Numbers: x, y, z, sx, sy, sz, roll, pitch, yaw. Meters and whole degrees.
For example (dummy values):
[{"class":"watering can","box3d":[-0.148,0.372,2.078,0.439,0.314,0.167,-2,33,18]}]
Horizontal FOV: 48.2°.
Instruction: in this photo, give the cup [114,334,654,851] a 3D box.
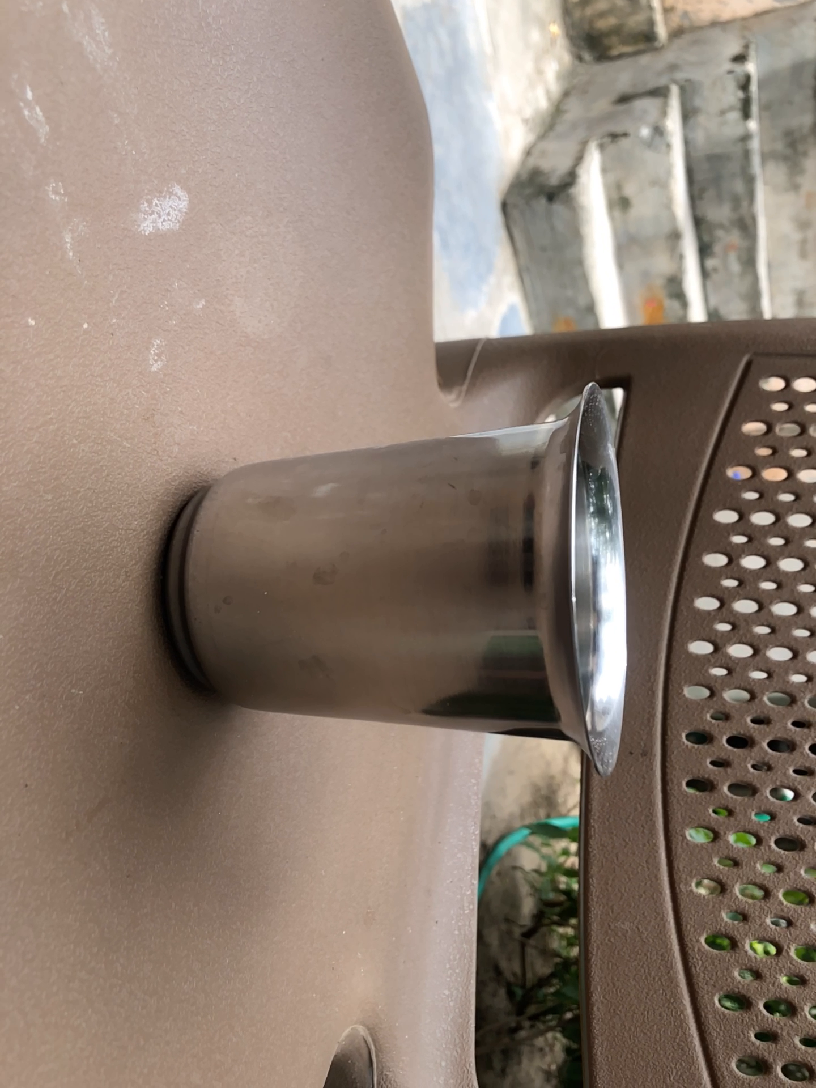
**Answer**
[{"class":"cup","box3d":[0.004,0.007,0.218,0.080,0.089,0.090,-45,127,-61]}]
